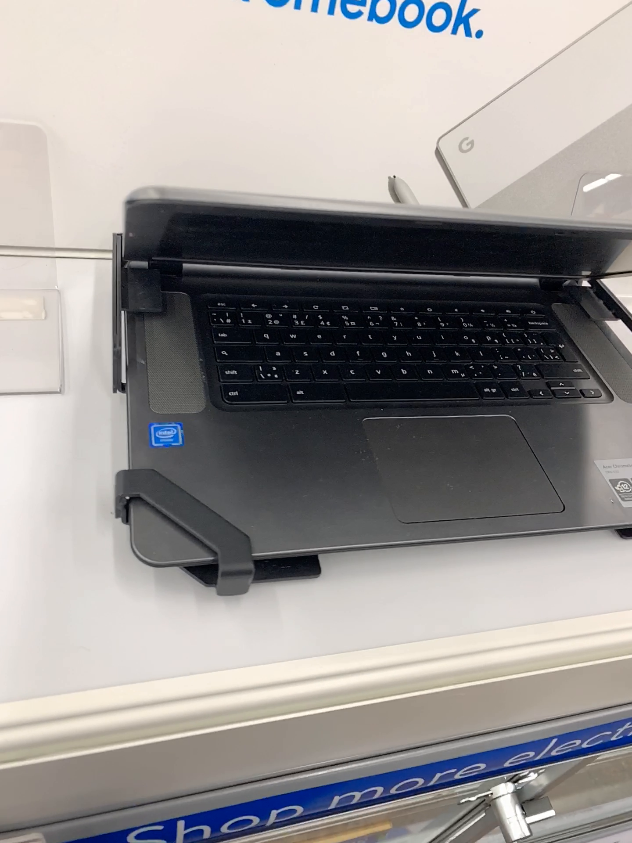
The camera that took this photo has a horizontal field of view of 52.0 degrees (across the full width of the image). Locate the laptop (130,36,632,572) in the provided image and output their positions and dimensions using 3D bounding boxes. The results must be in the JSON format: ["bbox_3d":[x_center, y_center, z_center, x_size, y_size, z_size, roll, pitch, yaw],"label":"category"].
[{"bbox_3d":[0.073,-0.061,0.303,0.303,0.119,0.198,-1,46,-16],"label":"laptop"}]
